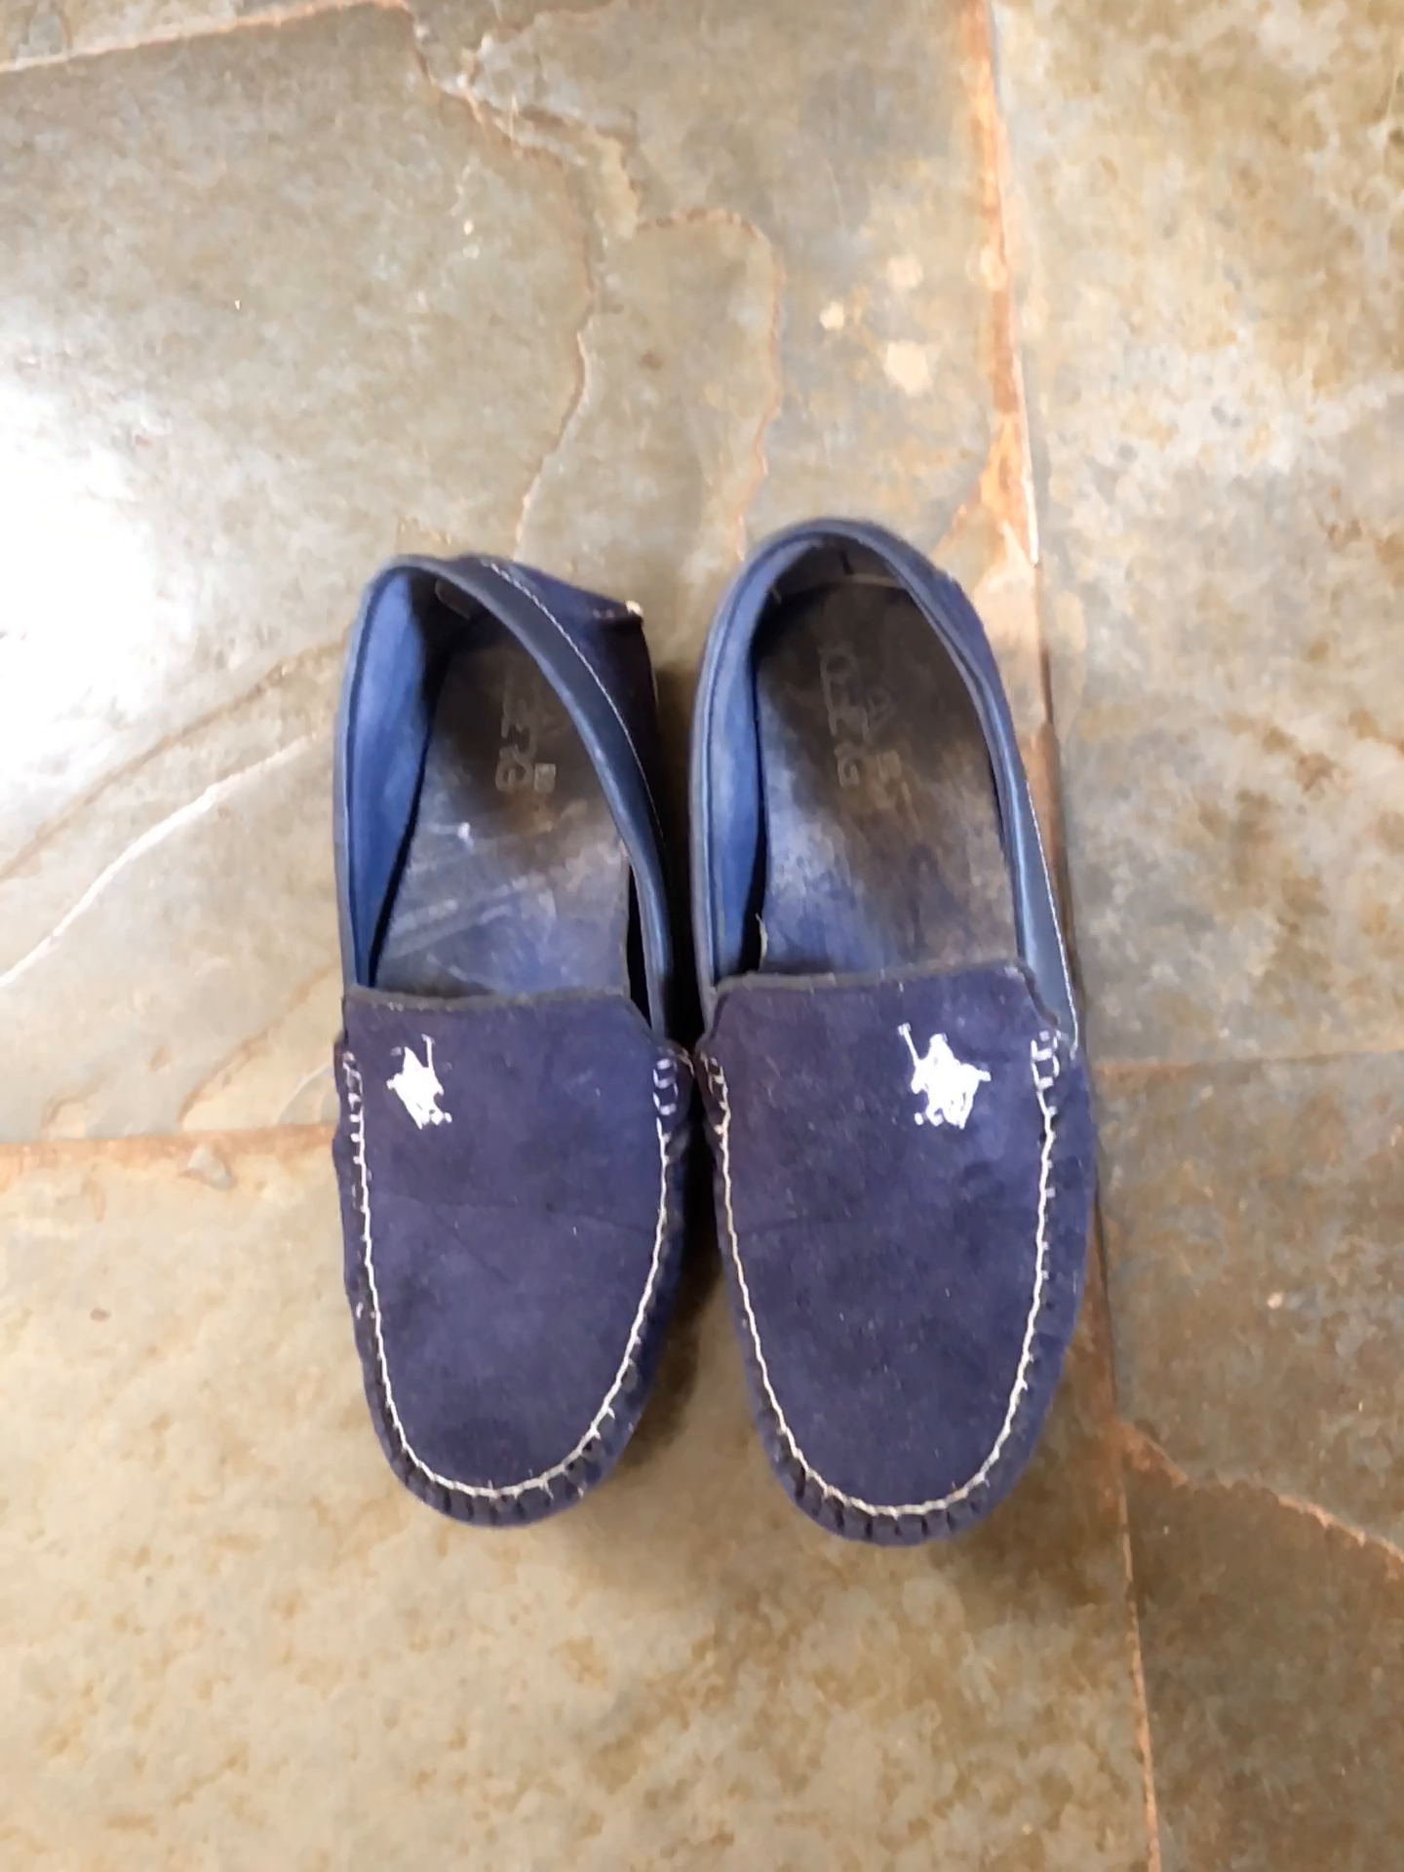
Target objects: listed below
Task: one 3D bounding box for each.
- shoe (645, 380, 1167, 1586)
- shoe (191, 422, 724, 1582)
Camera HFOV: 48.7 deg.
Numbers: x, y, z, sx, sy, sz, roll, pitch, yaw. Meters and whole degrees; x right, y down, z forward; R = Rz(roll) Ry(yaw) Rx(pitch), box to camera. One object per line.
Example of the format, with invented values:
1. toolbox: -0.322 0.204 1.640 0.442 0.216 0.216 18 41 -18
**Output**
1. shoe: 0.047 0.011 0.382 0.100 0.090 0.260 -4 78 11
2. shoe: -0.055 0.016 0.396 0.100 0.090 0.260 -4 78 11
